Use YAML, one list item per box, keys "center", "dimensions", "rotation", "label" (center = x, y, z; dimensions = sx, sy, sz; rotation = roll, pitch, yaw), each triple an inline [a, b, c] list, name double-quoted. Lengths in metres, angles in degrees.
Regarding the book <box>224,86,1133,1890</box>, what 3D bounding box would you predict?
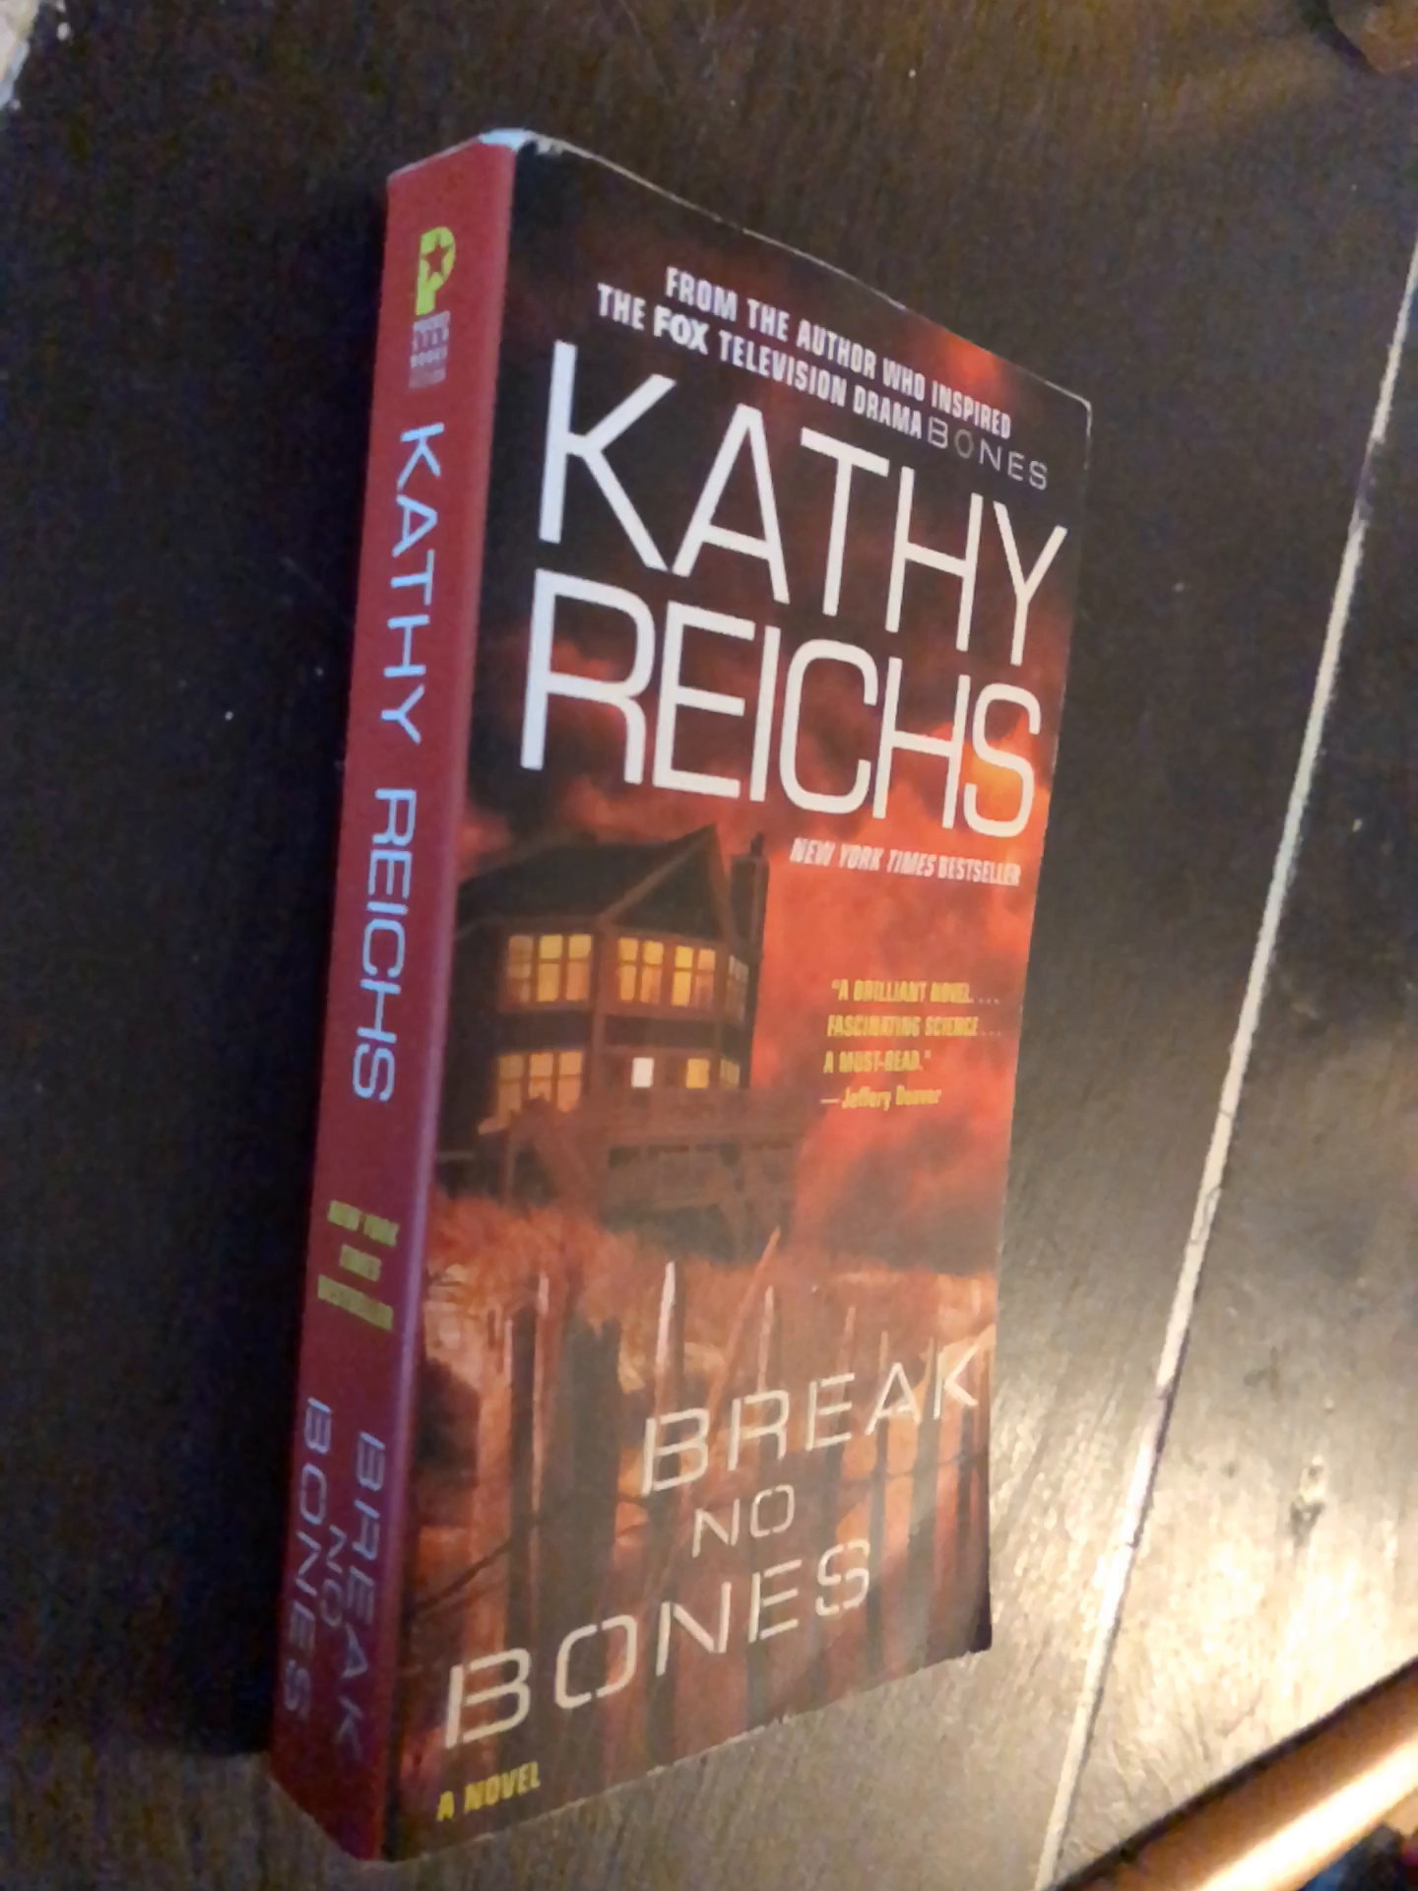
- center: [0.002, 0.009, 0.209]
  dimensions: [0.108, 0.030, 0.189]
  rotation: [4, 94, -43]
  label: "book"
